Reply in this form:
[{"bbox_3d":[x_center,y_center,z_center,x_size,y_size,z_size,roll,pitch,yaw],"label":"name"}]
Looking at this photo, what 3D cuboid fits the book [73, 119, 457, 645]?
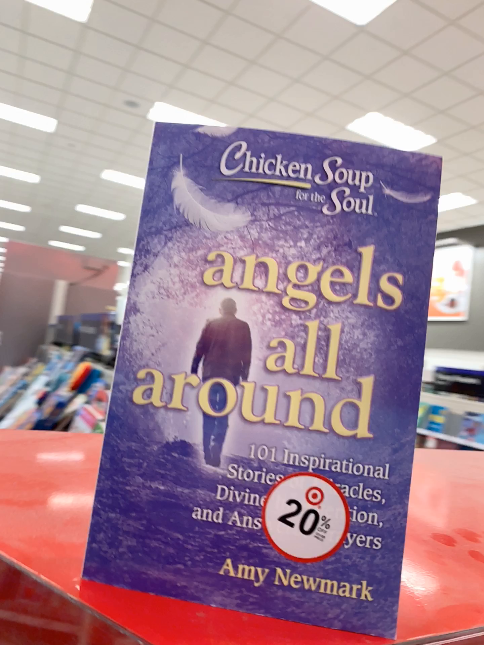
[{"bbox_3d":[0.014,0.018,0.240,0.142,0.211,0.041,7,-7,6],"label":"book"}]
